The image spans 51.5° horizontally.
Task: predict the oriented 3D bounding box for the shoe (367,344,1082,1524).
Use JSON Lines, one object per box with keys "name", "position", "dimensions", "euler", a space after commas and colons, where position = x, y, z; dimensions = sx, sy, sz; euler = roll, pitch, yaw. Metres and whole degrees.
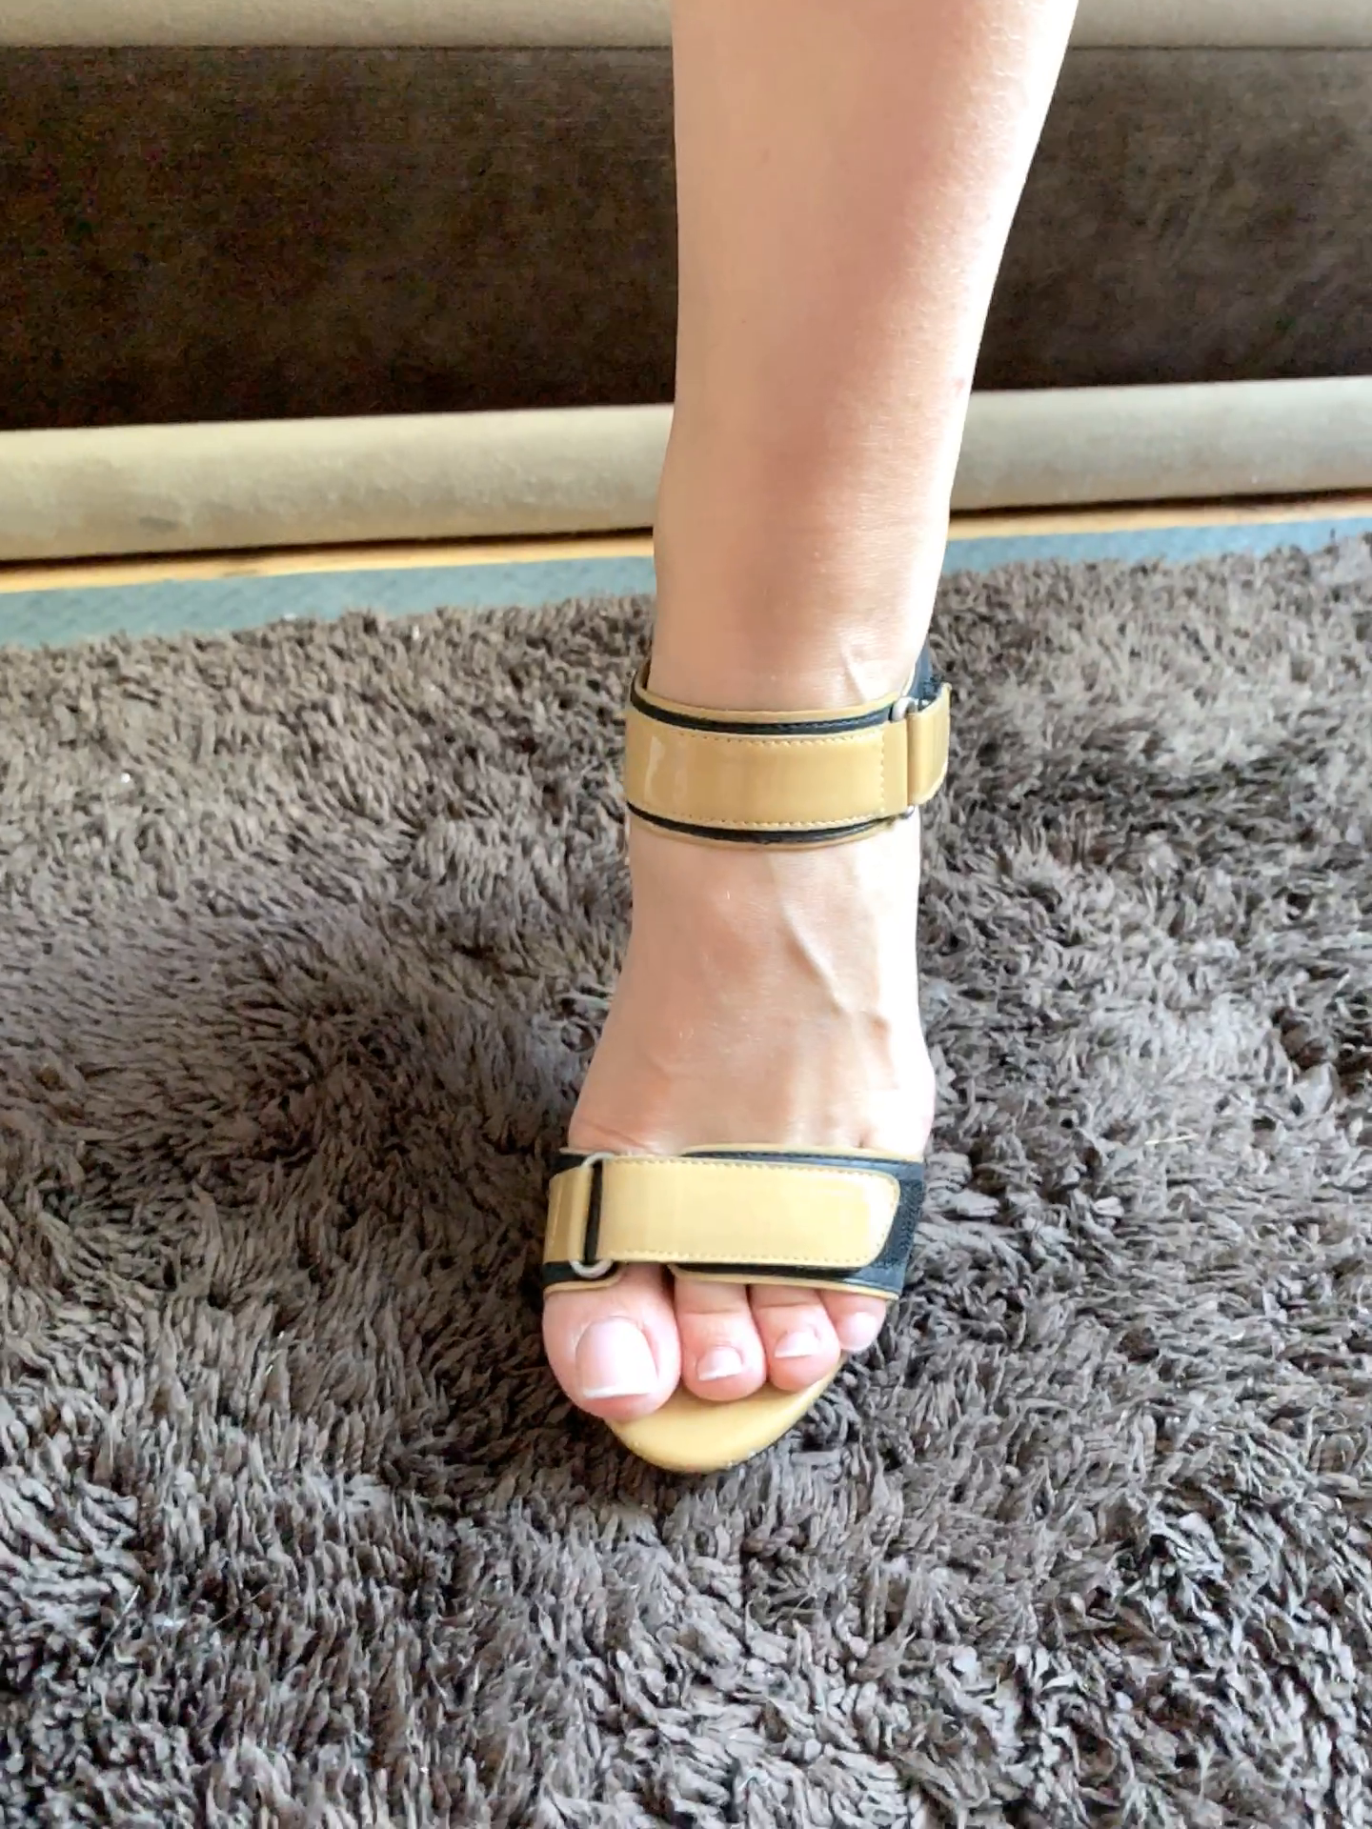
{"name": "shoe", "position": [0.007, -0.007, 0.303], "dimensions": [0.090, 0.149, 0.201], "euler": [4, 42, 1]}
